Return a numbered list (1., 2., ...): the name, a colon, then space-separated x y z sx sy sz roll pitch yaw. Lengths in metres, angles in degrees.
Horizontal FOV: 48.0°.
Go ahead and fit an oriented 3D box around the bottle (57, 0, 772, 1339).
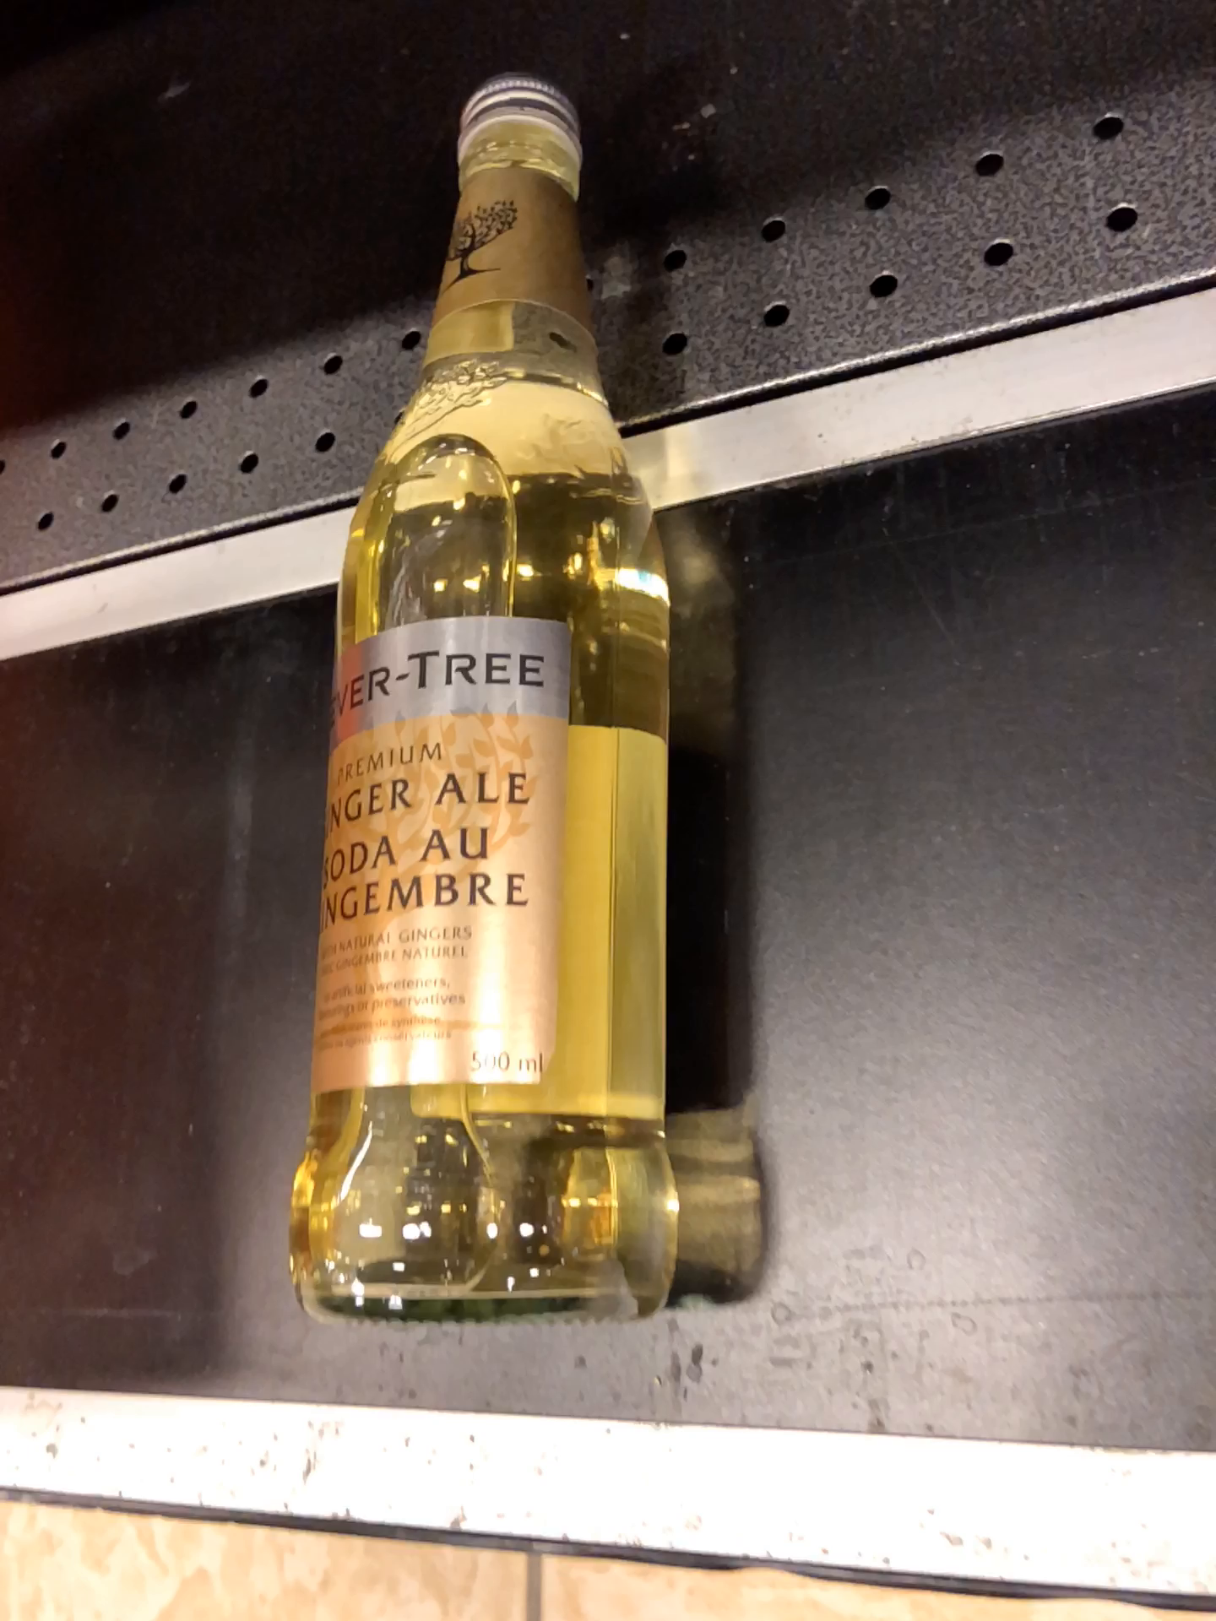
1. bottle: -0.029 -0.042 0.285 0.090 0.090 0.280 -9 69 23
